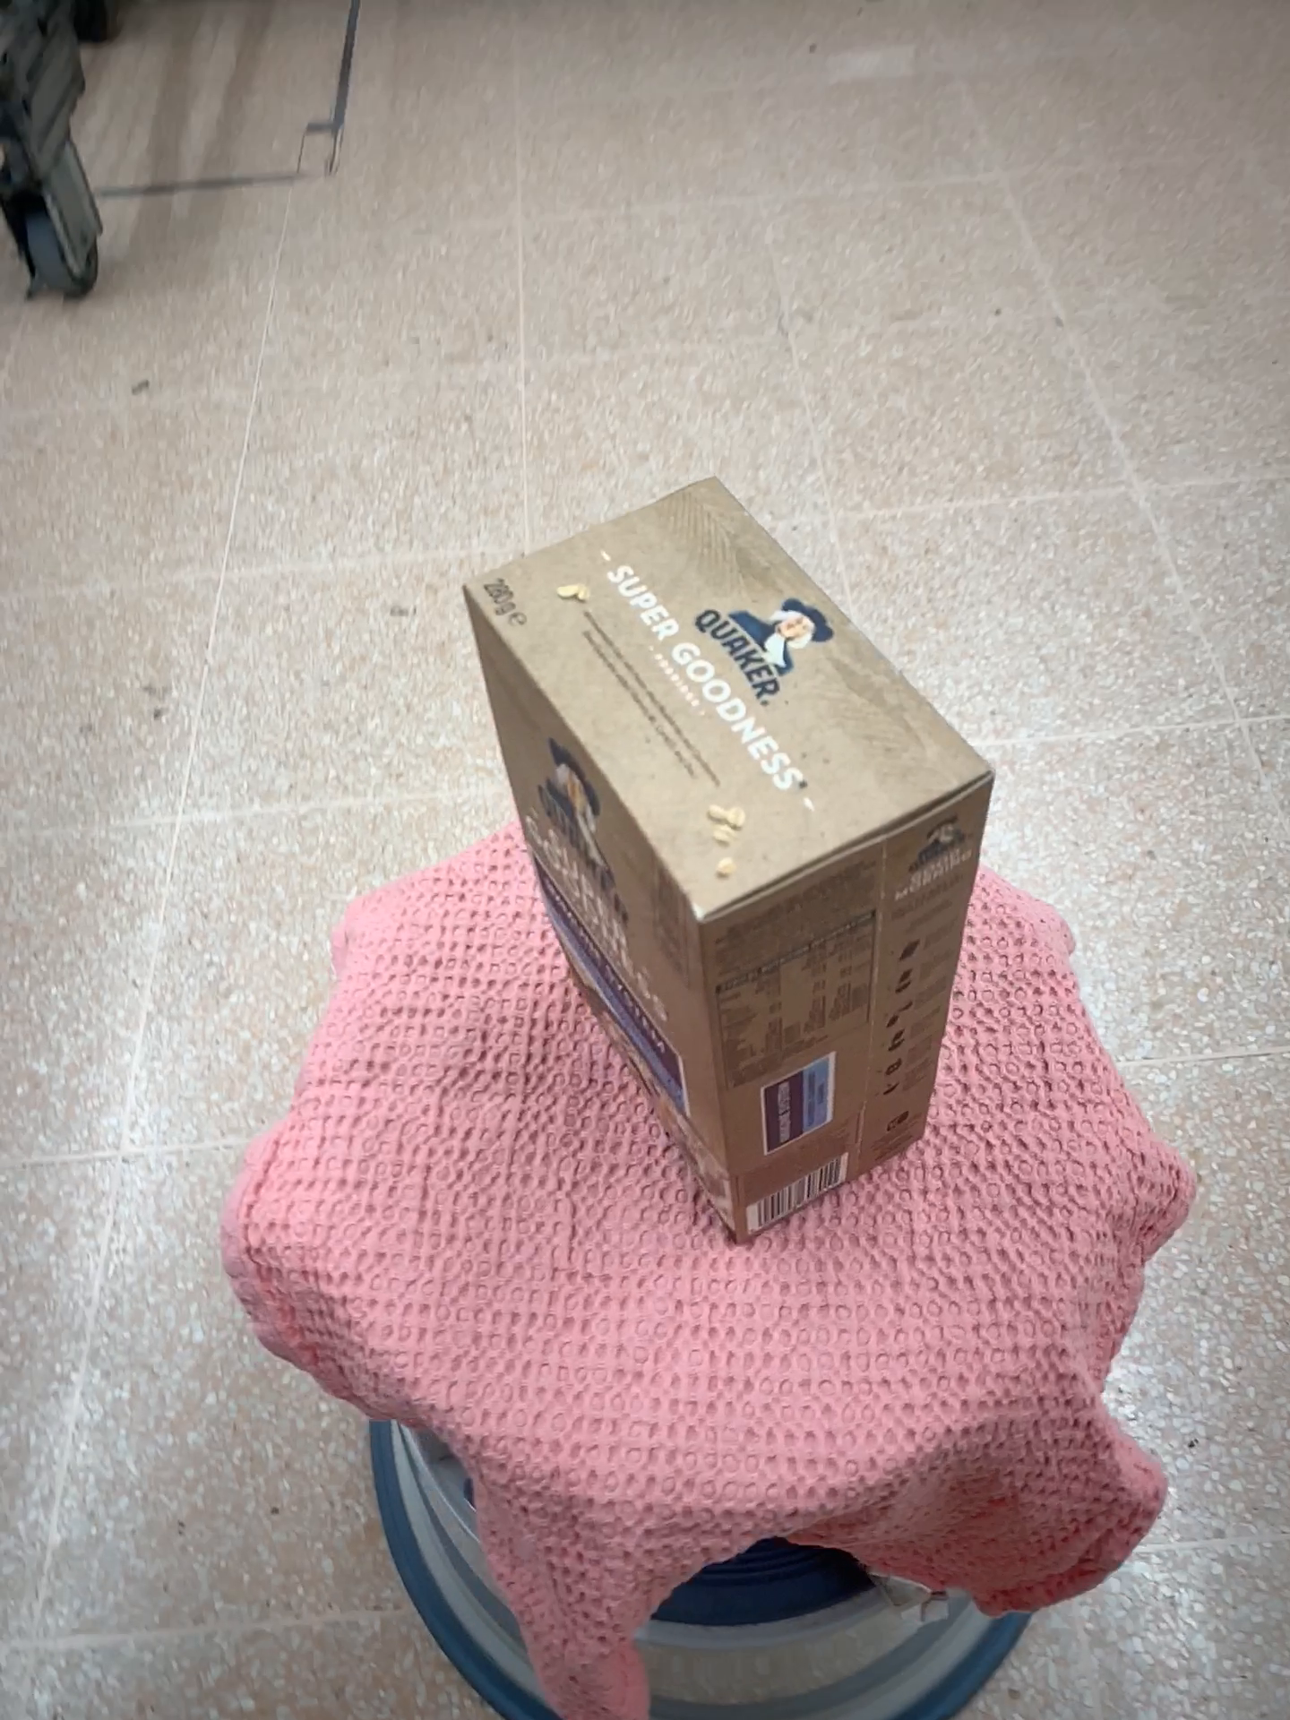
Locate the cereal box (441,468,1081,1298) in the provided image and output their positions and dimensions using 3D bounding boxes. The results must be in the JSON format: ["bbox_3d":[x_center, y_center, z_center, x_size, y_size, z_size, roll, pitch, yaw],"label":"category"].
[{"bbox_3d":[0.031,0.018,0.413,0.100,0.209,0.141,-26,56,-13],"label":"cereal box"}]
